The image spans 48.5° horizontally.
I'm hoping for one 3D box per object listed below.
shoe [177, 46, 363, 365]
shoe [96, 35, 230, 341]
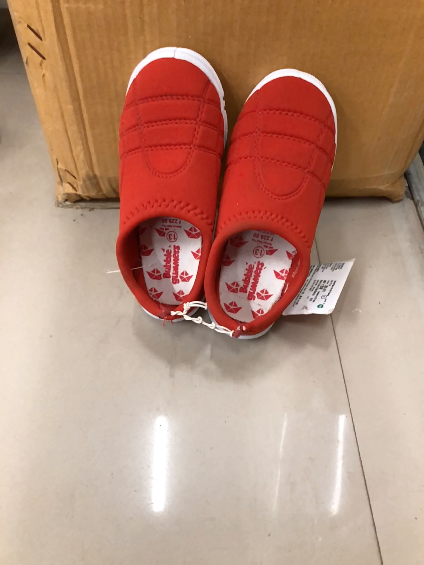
[{"bbox_3d":[0.043,-0.056,0.367,0.084,0.208,0.081,14,15,10],"label":"shoe"},{"bbox_3d":[-0.033,-0.068,0.363,0.084,0.204,0.082,2,17,1],"label":"shoe"}]
